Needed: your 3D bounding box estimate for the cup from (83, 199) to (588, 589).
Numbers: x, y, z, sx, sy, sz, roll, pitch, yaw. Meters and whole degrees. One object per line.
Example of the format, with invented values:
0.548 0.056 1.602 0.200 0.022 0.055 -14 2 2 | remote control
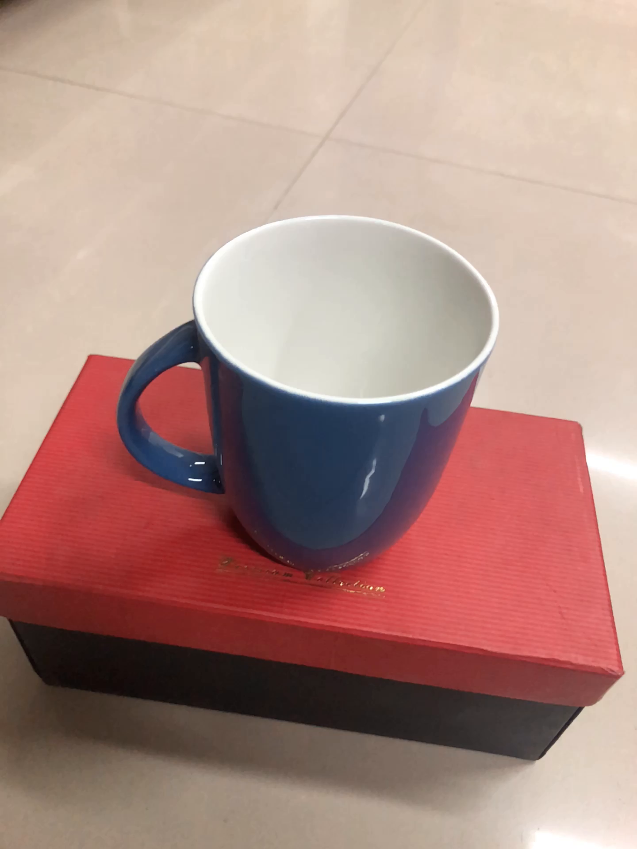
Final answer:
0.001 -0.008 0.211 0.110 0.080 0.080 0 47 -5 | cup
